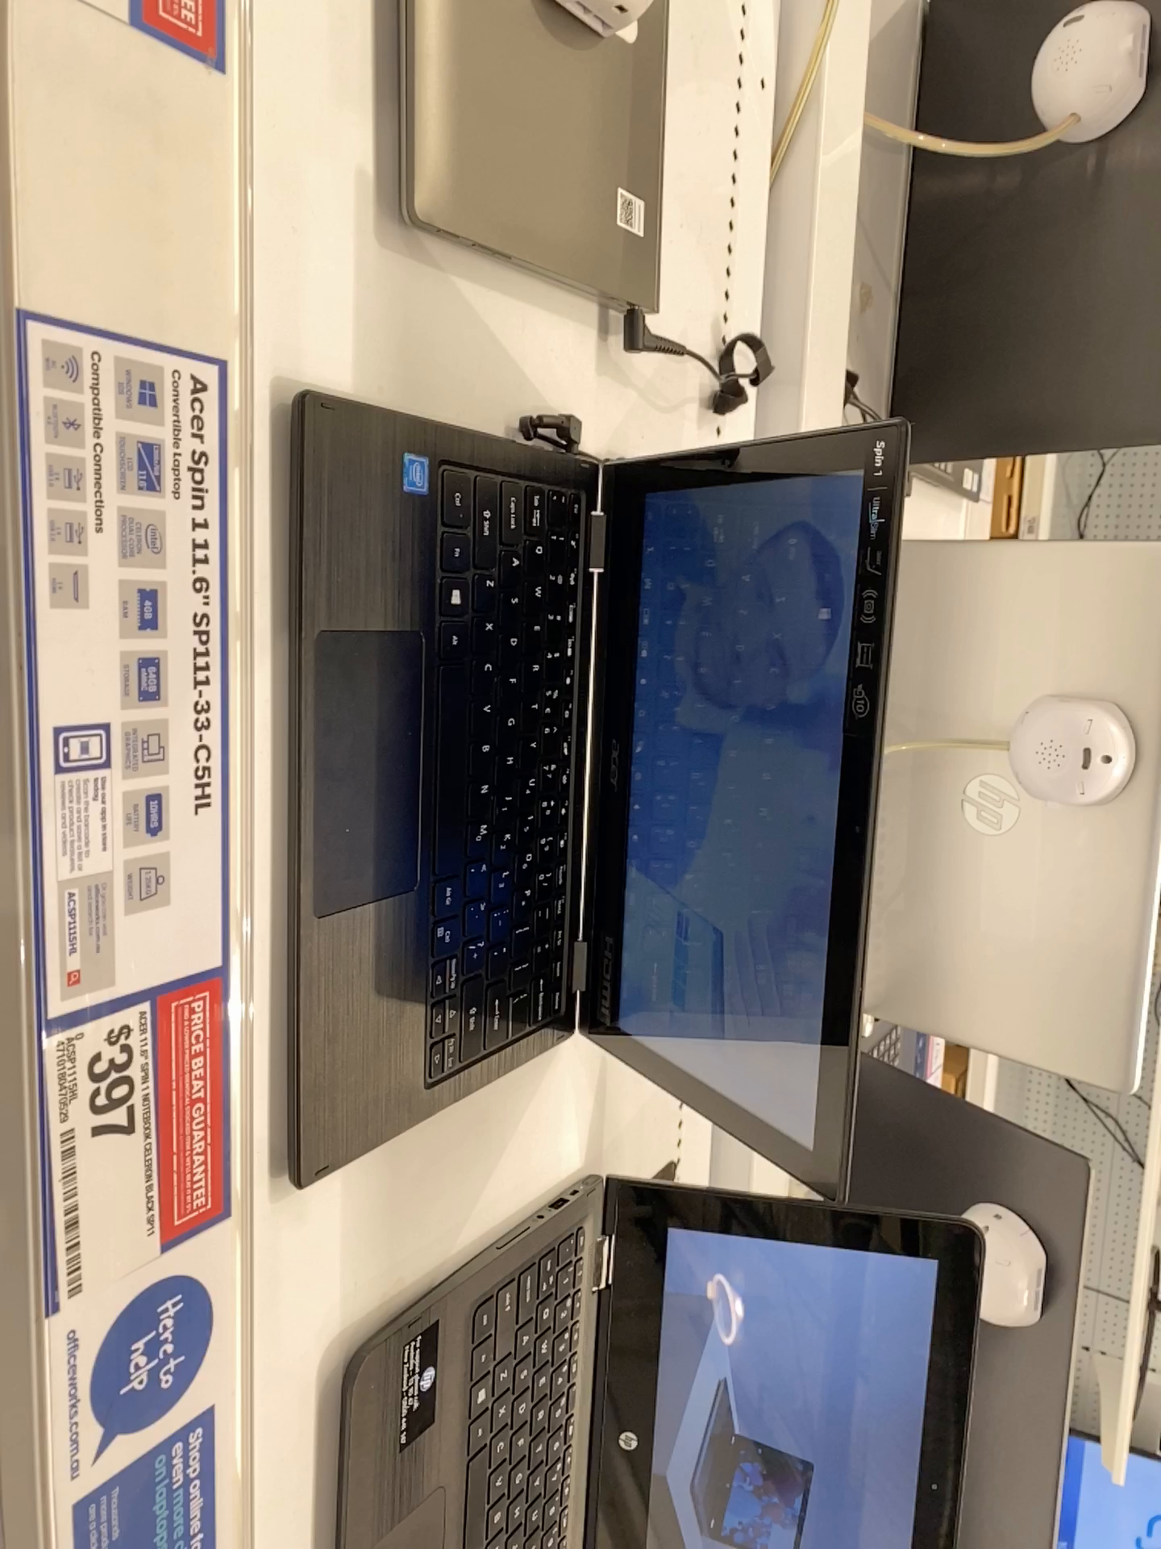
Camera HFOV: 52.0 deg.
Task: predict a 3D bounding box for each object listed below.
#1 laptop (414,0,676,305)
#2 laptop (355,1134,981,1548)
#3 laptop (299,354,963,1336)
[{"bbox_3d":[-0.008,-0.366,0.513,0.196,0.001,0.284,-12,104,-57],"label":"laptop"},{"bbox_3d":[0.062,0.406,0.611,0.298,0.189,0.323,-12,106,-58],"label":"laptop"},{"bbox_3d":[0.025,0.010,0.473,0.198,0.174,0.290,-10,105,-58],"label":"laptop"}]
